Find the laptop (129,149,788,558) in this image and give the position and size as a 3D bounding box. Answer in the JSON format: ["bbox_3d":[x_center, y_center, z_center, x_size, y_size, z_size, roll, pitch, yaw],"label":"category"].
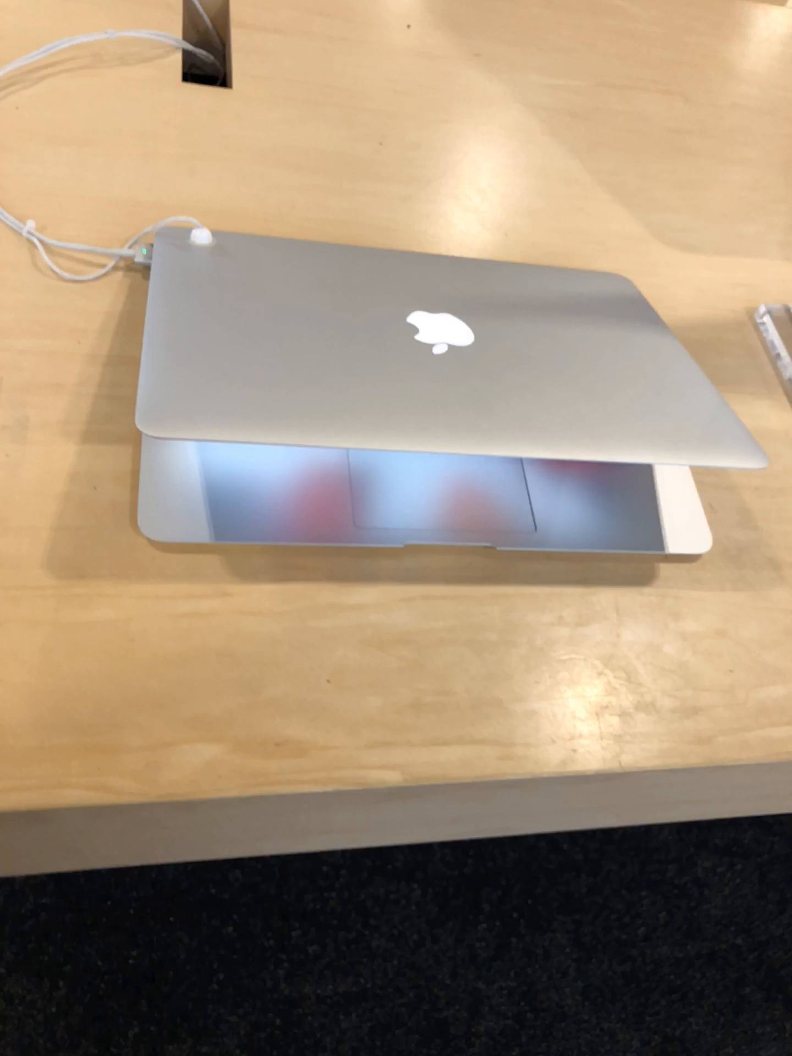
[{"bbox_3d":[0.023,-0.096,0.488,0.315,0.067,0.215,2,56,-13],"label":"laptop"}]
